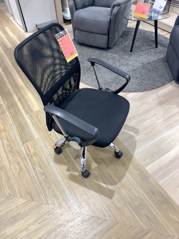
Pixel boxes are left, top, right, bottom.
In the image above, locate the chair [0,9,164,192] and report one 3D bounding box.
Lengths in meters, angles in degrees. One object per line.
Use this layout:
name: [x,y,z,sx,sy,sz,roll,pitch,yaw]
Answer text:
chair: [-0.003,-0.112,1.211,0.601,0.866,0.642,20,51,19]
